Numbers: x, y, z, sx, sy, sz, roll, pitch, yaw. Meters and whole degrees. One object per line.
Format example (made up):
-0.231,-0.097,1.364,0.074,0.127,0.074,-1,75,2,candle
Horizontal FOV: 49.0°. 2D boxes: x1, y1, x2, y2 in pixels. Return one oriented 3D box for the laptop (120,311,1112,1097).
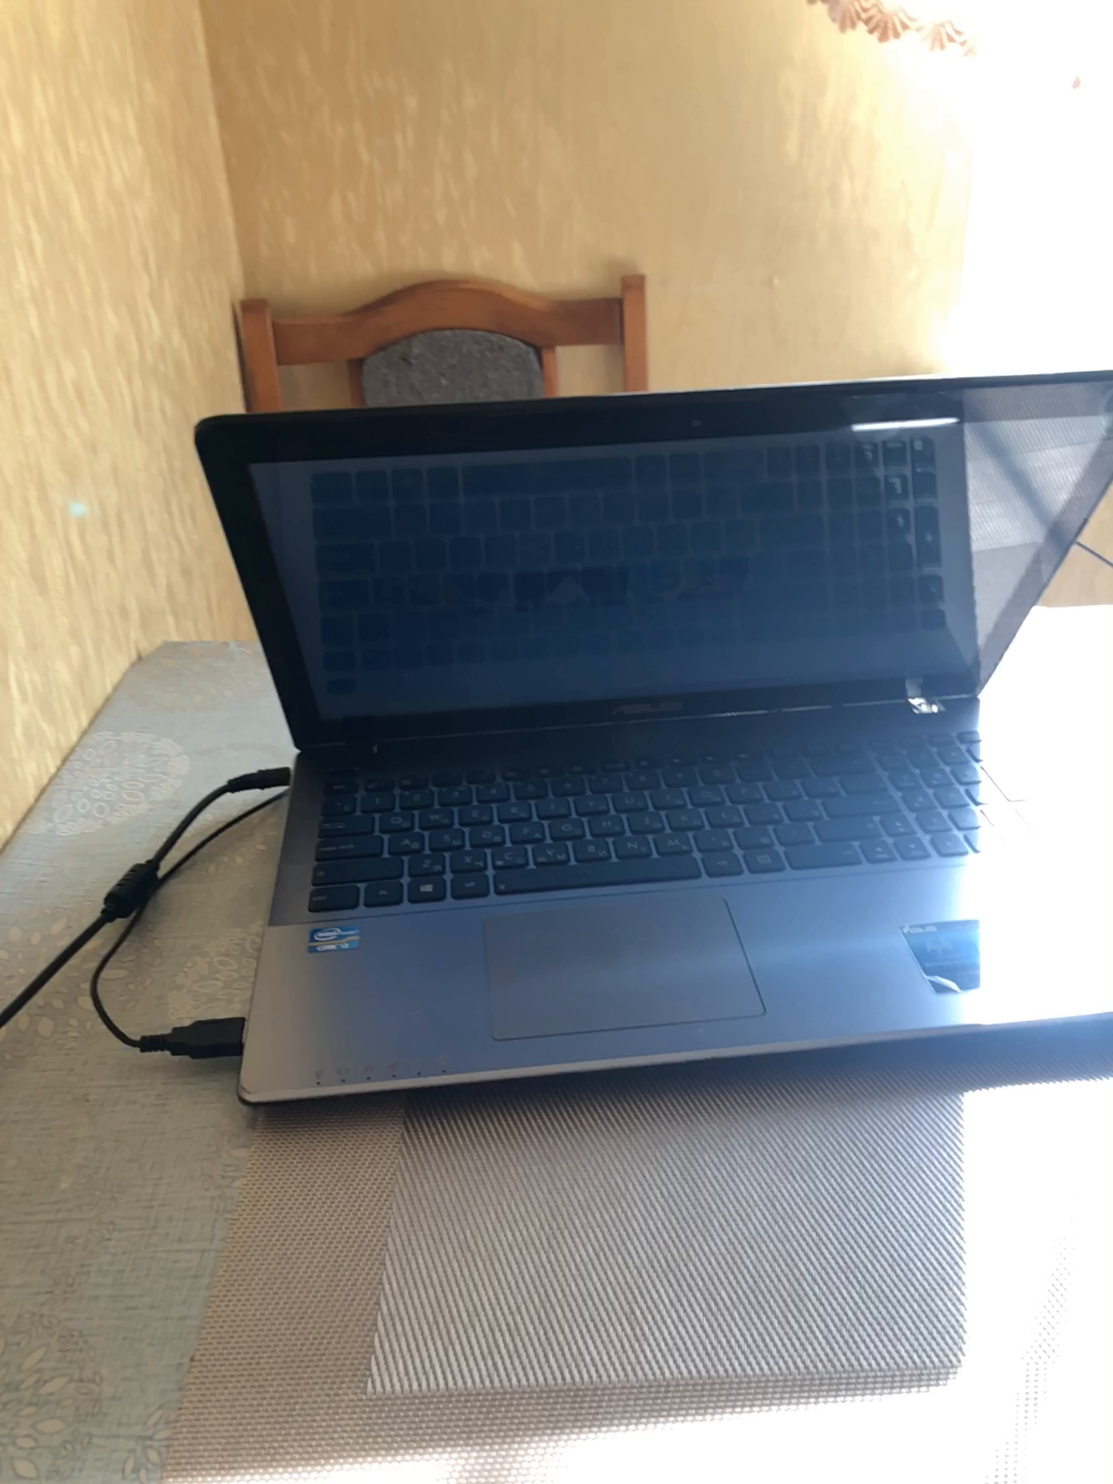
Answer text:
0.056,-0.039,0.499,0.369,0.196,0.244,-5,29,-4,laptop
